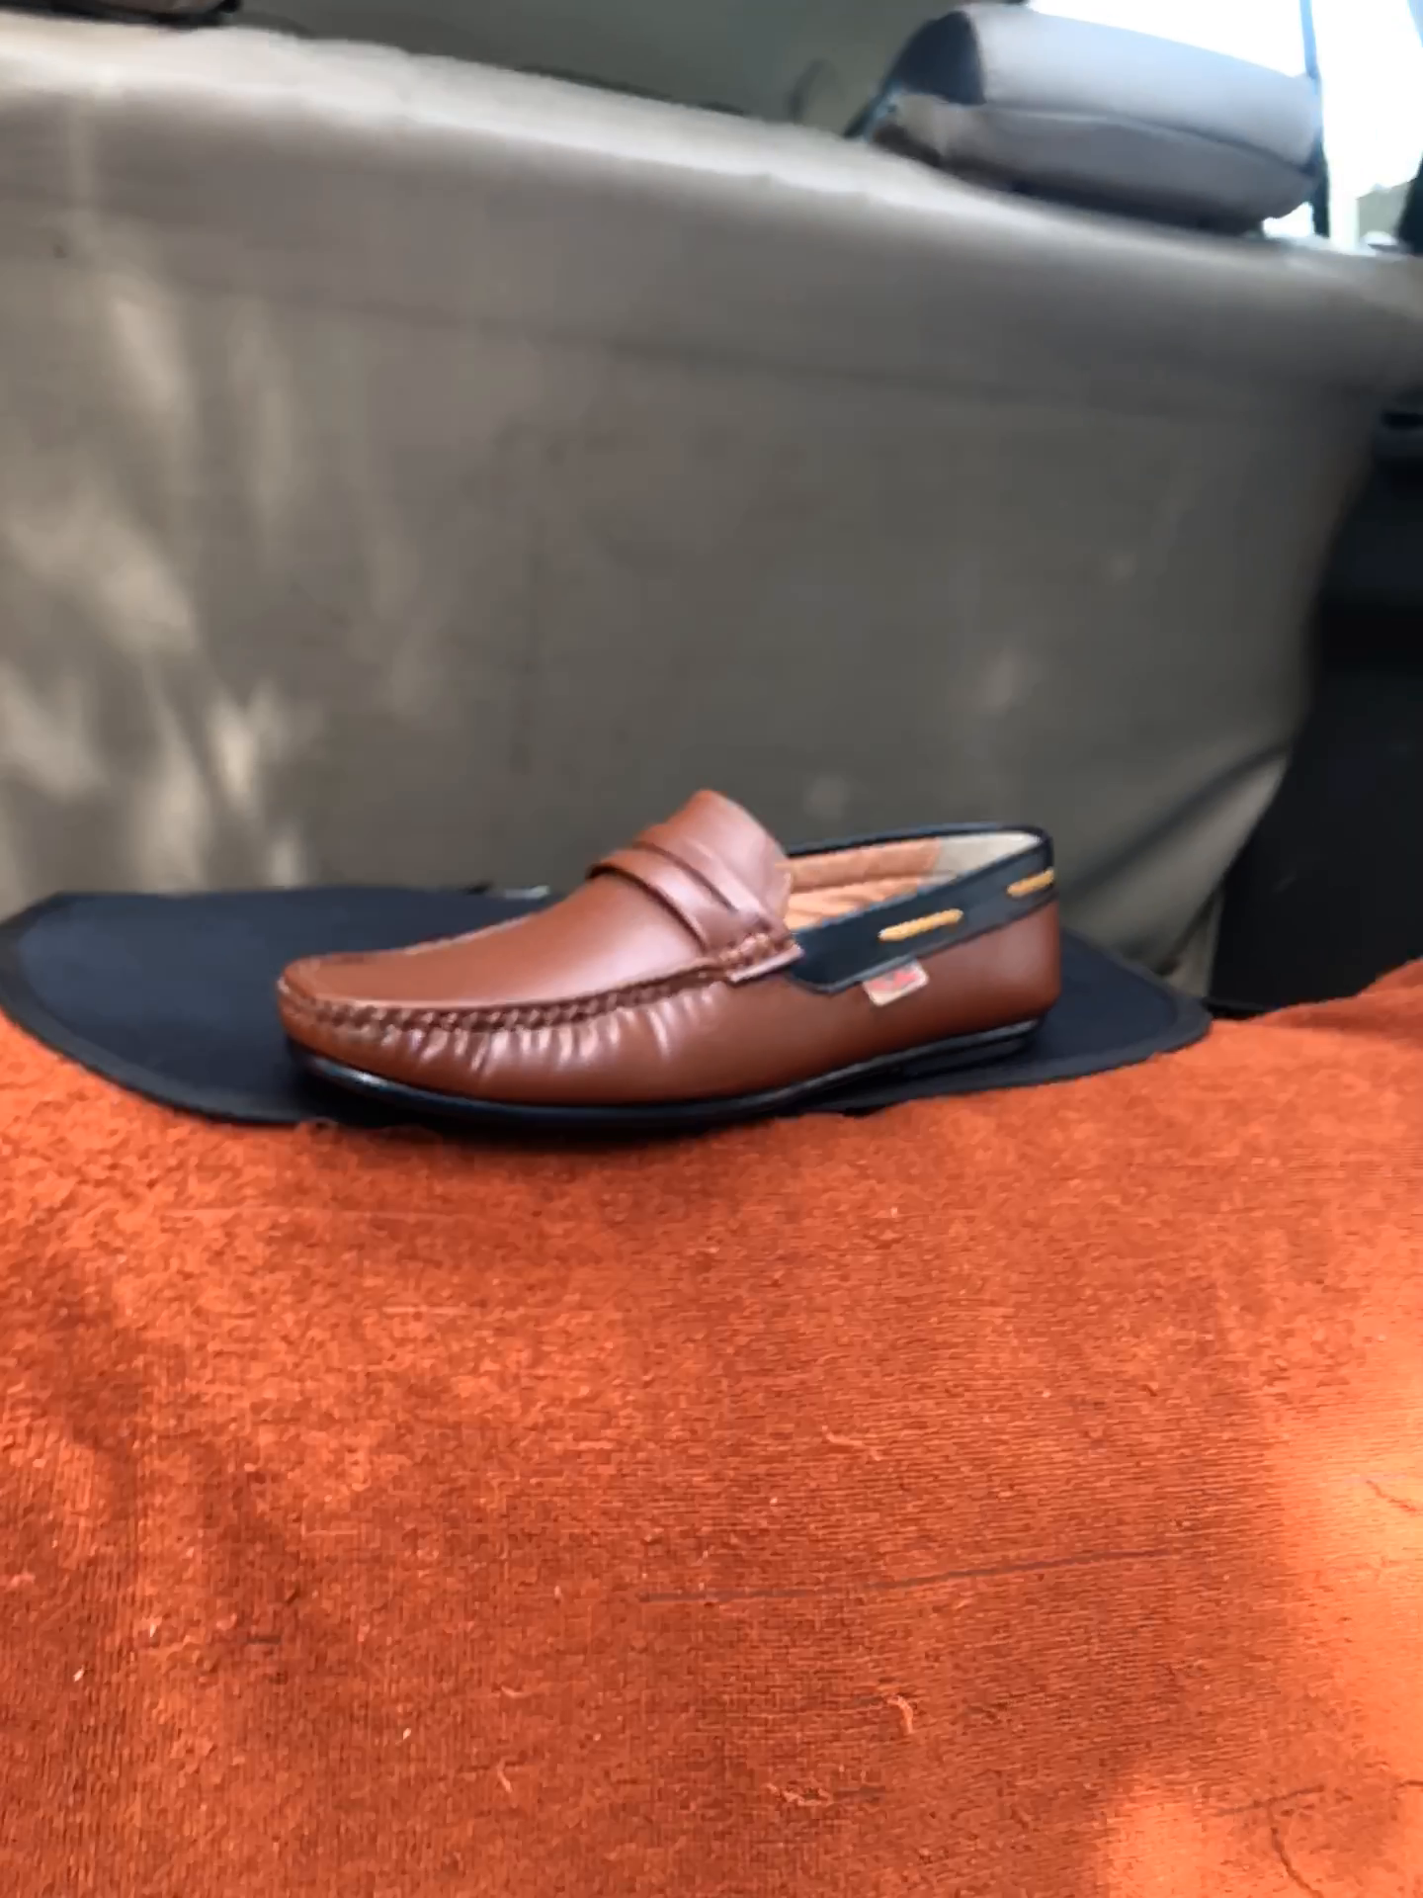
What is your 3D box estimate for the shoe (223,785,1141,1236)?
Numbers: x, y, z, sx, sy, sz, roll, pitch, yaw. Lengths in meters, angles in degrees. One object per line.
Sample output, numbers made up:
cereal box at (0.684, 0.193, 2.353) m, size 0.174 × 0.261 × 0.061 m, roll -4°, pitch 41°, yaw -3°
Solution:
shoe at (0.002, 0.003, 0.513) m, size 0.281 × 0.070 × 0.110 m, roll -11°, pitch 21°, yaw -36°
